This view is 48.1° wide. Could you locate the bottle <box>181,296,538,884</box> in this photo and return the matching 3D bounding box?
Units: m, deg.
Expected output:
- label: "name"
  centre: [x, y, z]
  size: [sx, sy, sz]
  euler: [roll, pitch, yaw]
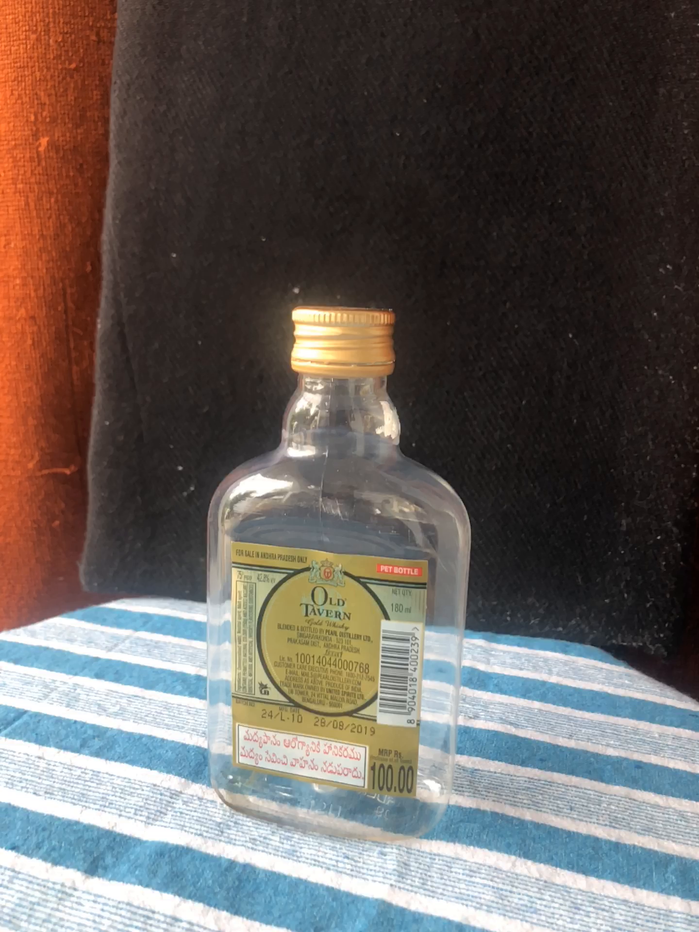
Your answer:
- label: "bottle"
  centre: [0.001, 0.029, 0.209]
  size: [0.080, 0.140, 0.040]
  euler: [7, 15, 13]
